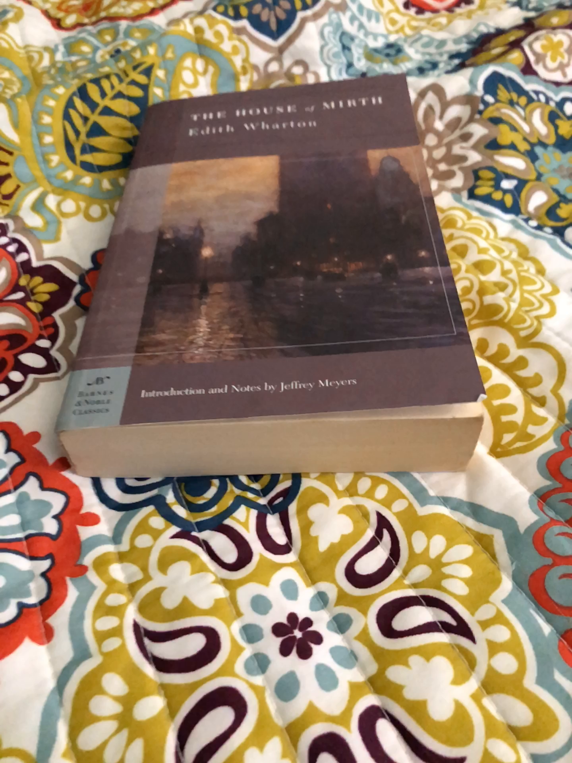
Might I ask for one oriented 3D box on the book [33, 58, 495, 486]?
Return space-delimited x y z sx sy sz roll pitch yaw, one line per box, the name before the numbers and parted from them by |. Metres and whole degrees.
book | -0.005 -0.057 0.267 0.141 0.040 0.196 -3 54 6
